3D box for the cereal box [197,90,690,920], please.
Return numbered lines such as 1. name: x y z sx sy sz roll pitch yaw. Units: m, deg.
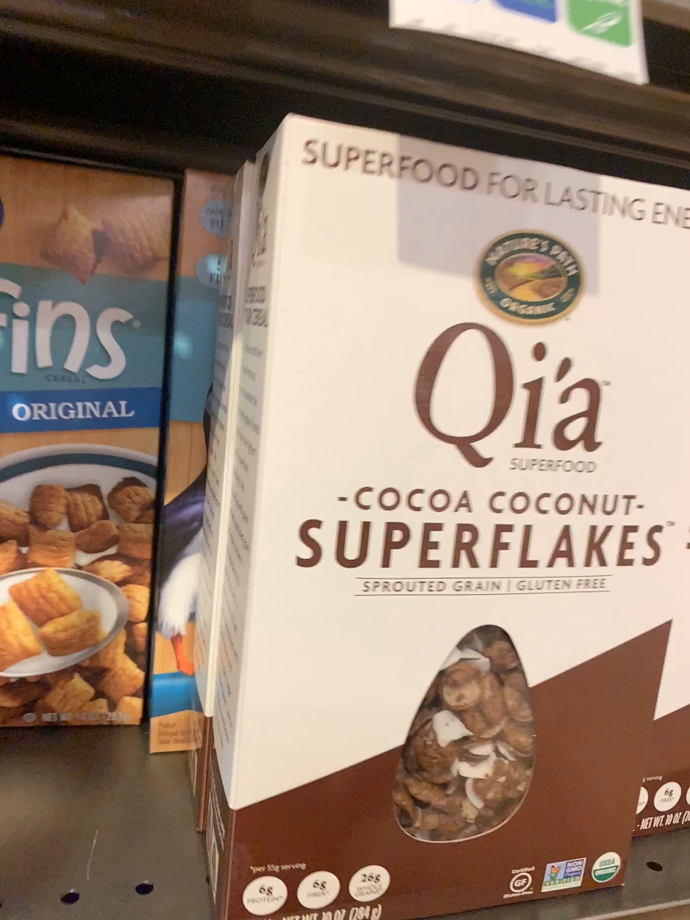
1. cereal box: 0.040 0.030 0.258 0.160 0.259 0.060 3 10 -18
